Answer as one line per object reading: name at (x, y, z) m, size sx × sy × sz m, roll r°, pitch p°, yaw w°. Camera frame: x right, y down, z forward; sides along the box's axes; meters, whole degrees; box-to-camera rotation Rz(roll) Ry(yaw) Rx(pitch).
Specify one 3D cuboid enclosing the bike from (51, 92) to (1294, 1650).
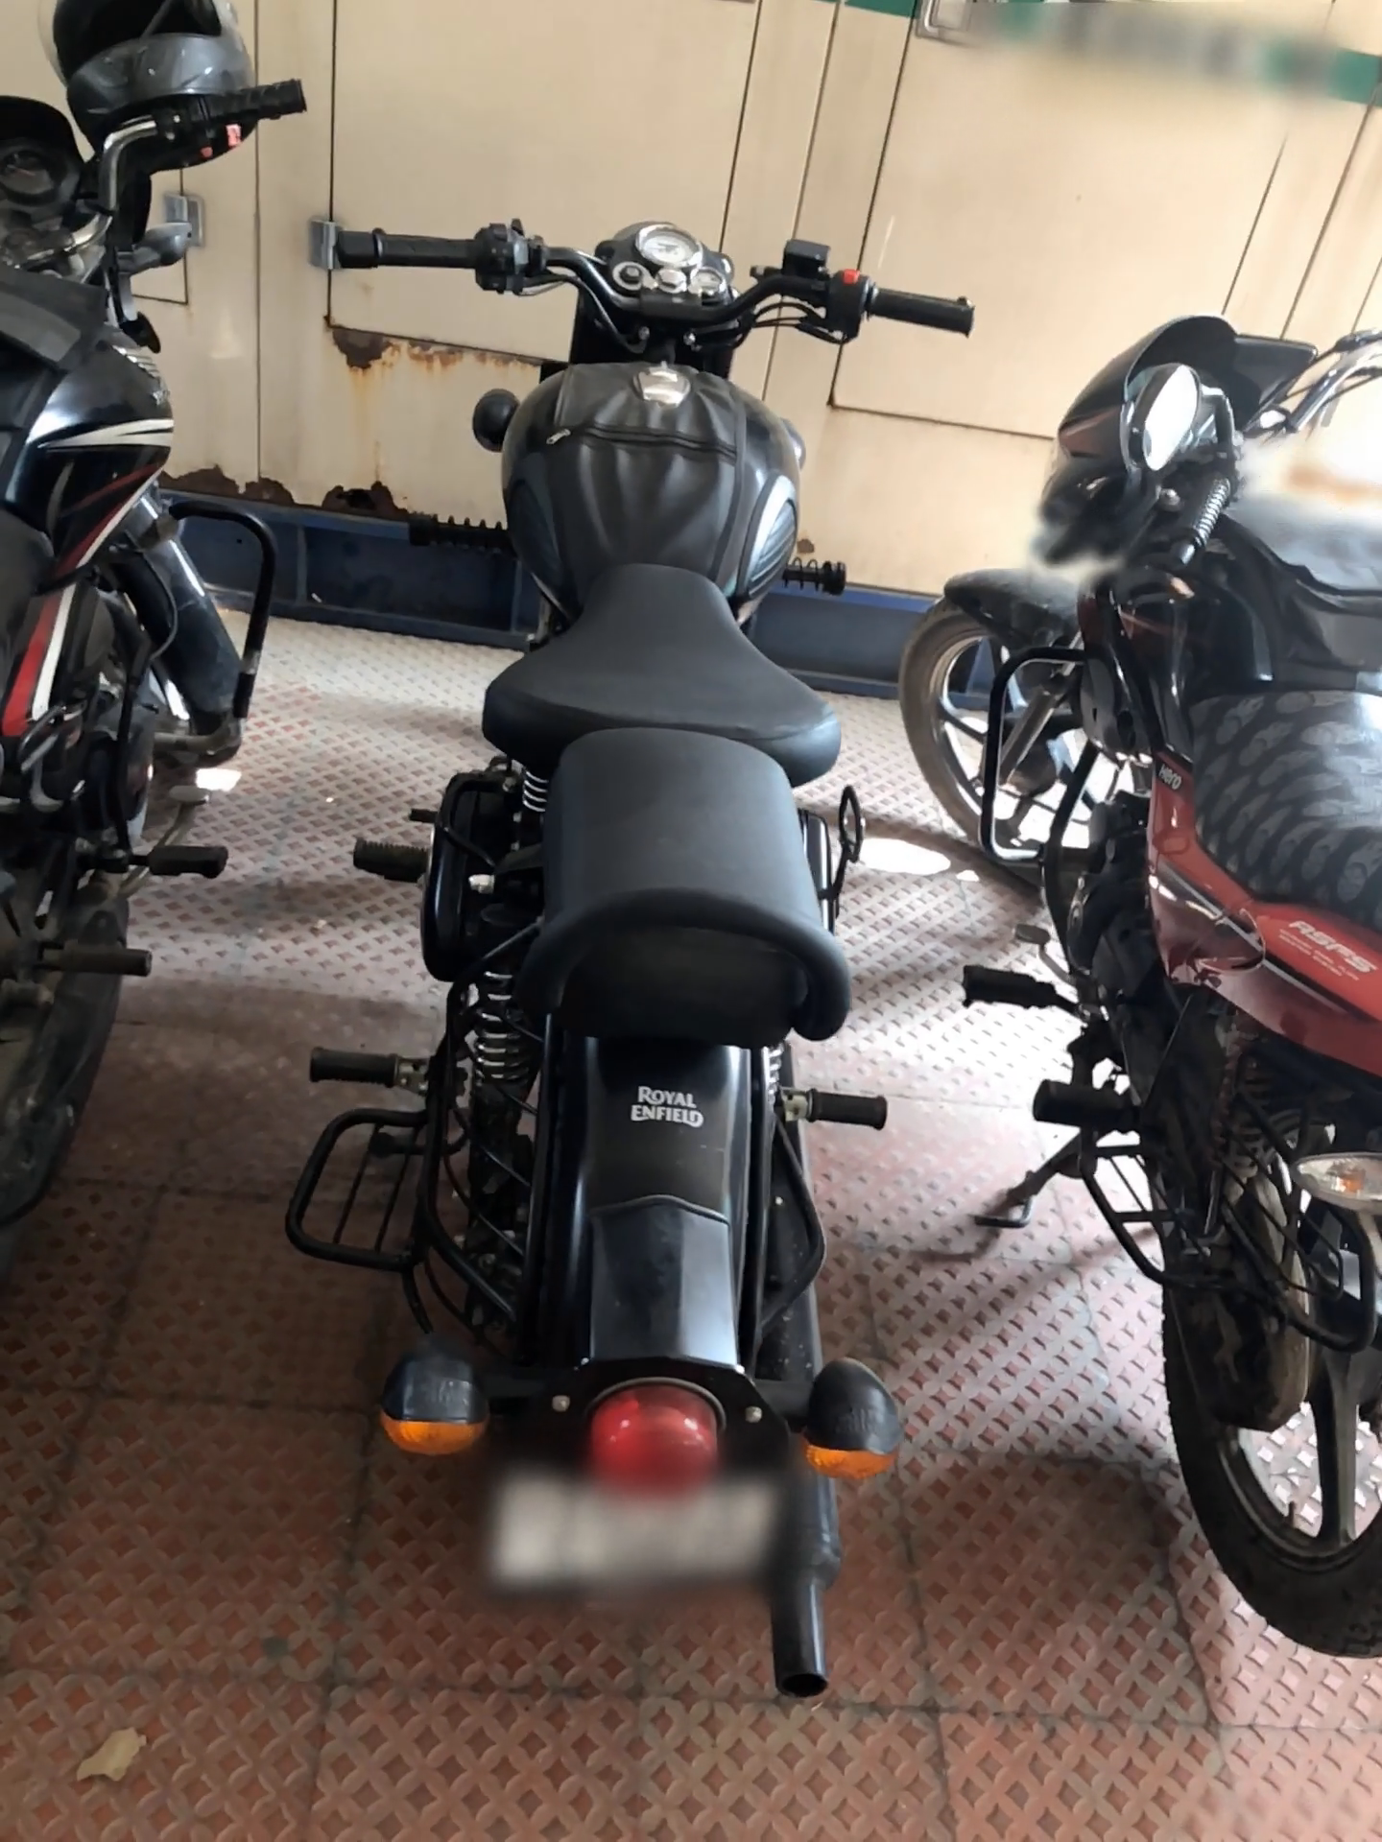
bike at (-0.149, -0.230, 1.785) m, size 0.708 × 0.919 × 1.696 m, roll 4°, pitch 38°, yaw -10°
